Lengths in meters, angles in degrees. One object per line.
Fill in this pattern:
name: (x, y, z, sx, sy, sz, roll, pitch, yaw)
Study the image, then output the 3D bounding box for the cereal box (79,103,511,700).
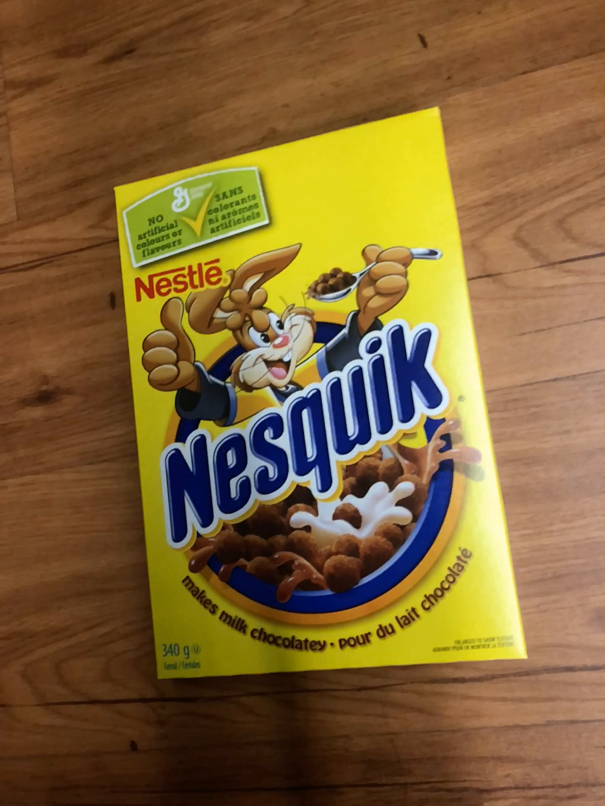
cereal box: (-0.010, 0.005, 0.384, 0.200, 0.060, 0.290, -10, 83, 15)
